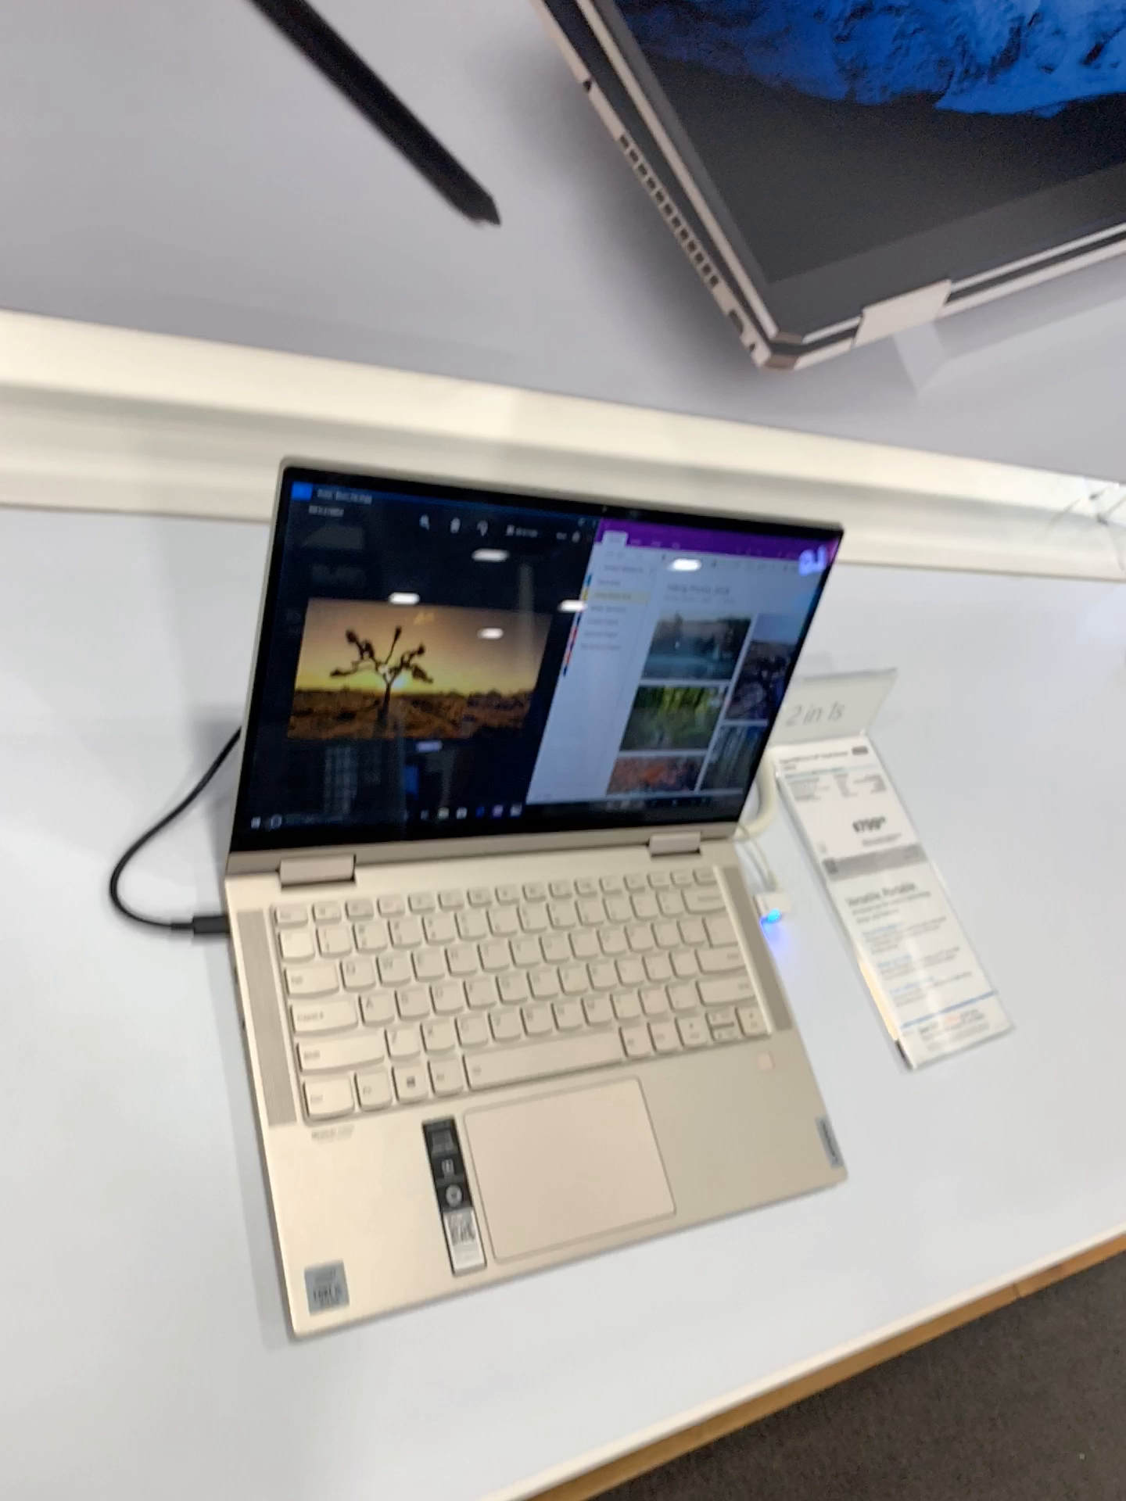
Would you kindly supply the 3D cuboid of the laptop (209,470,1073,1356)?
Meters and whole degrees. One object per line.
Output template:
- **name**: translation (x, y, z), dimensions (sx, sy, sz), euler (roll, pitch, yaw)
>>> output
- **laptop**: translation (0.020, 0.064, 0.573), dimensions (0.310, 0.170, 0.329), euler (-1, 63, -31)
